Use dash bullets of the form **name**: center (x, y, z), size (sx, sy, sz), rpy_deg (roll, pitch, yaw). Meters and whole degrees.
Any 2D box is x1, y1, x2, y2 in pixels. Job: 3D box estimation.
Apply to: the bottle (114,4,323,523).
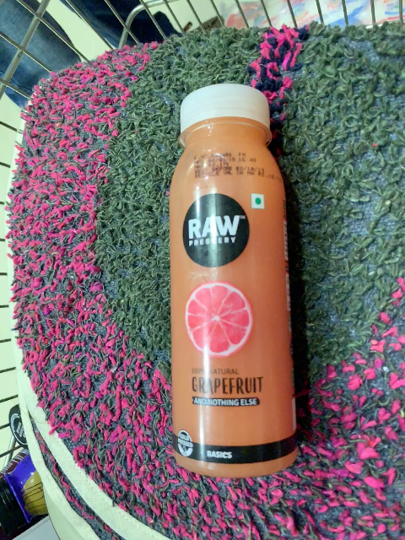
- **bottle**: center (0.012, -0.004, 0.166), size (0.060, 0.060, 0.160), rpy_deg (-2, 81, 22)
